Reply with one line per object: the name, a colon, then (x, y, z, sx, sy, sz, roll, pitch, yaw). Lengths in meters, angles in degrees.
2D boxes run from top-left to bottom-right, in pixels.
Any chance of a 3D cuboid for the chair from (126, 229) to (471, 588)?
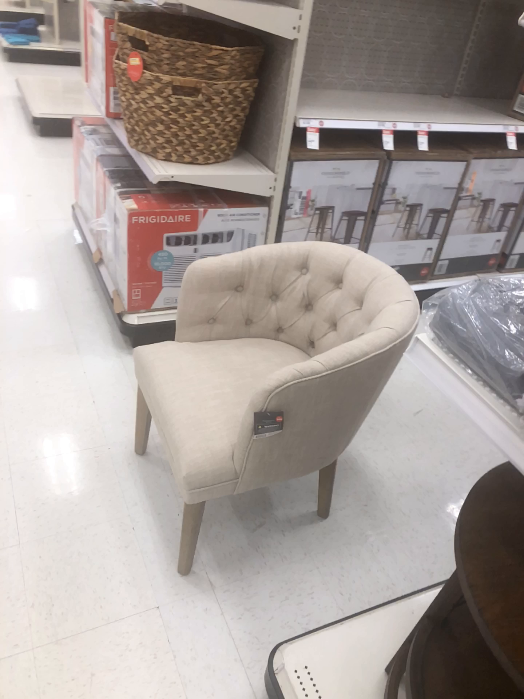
chair: (0.025, 0.121, 1.617, 0.683, 0.700, 0.563, -8, 38, -24)
